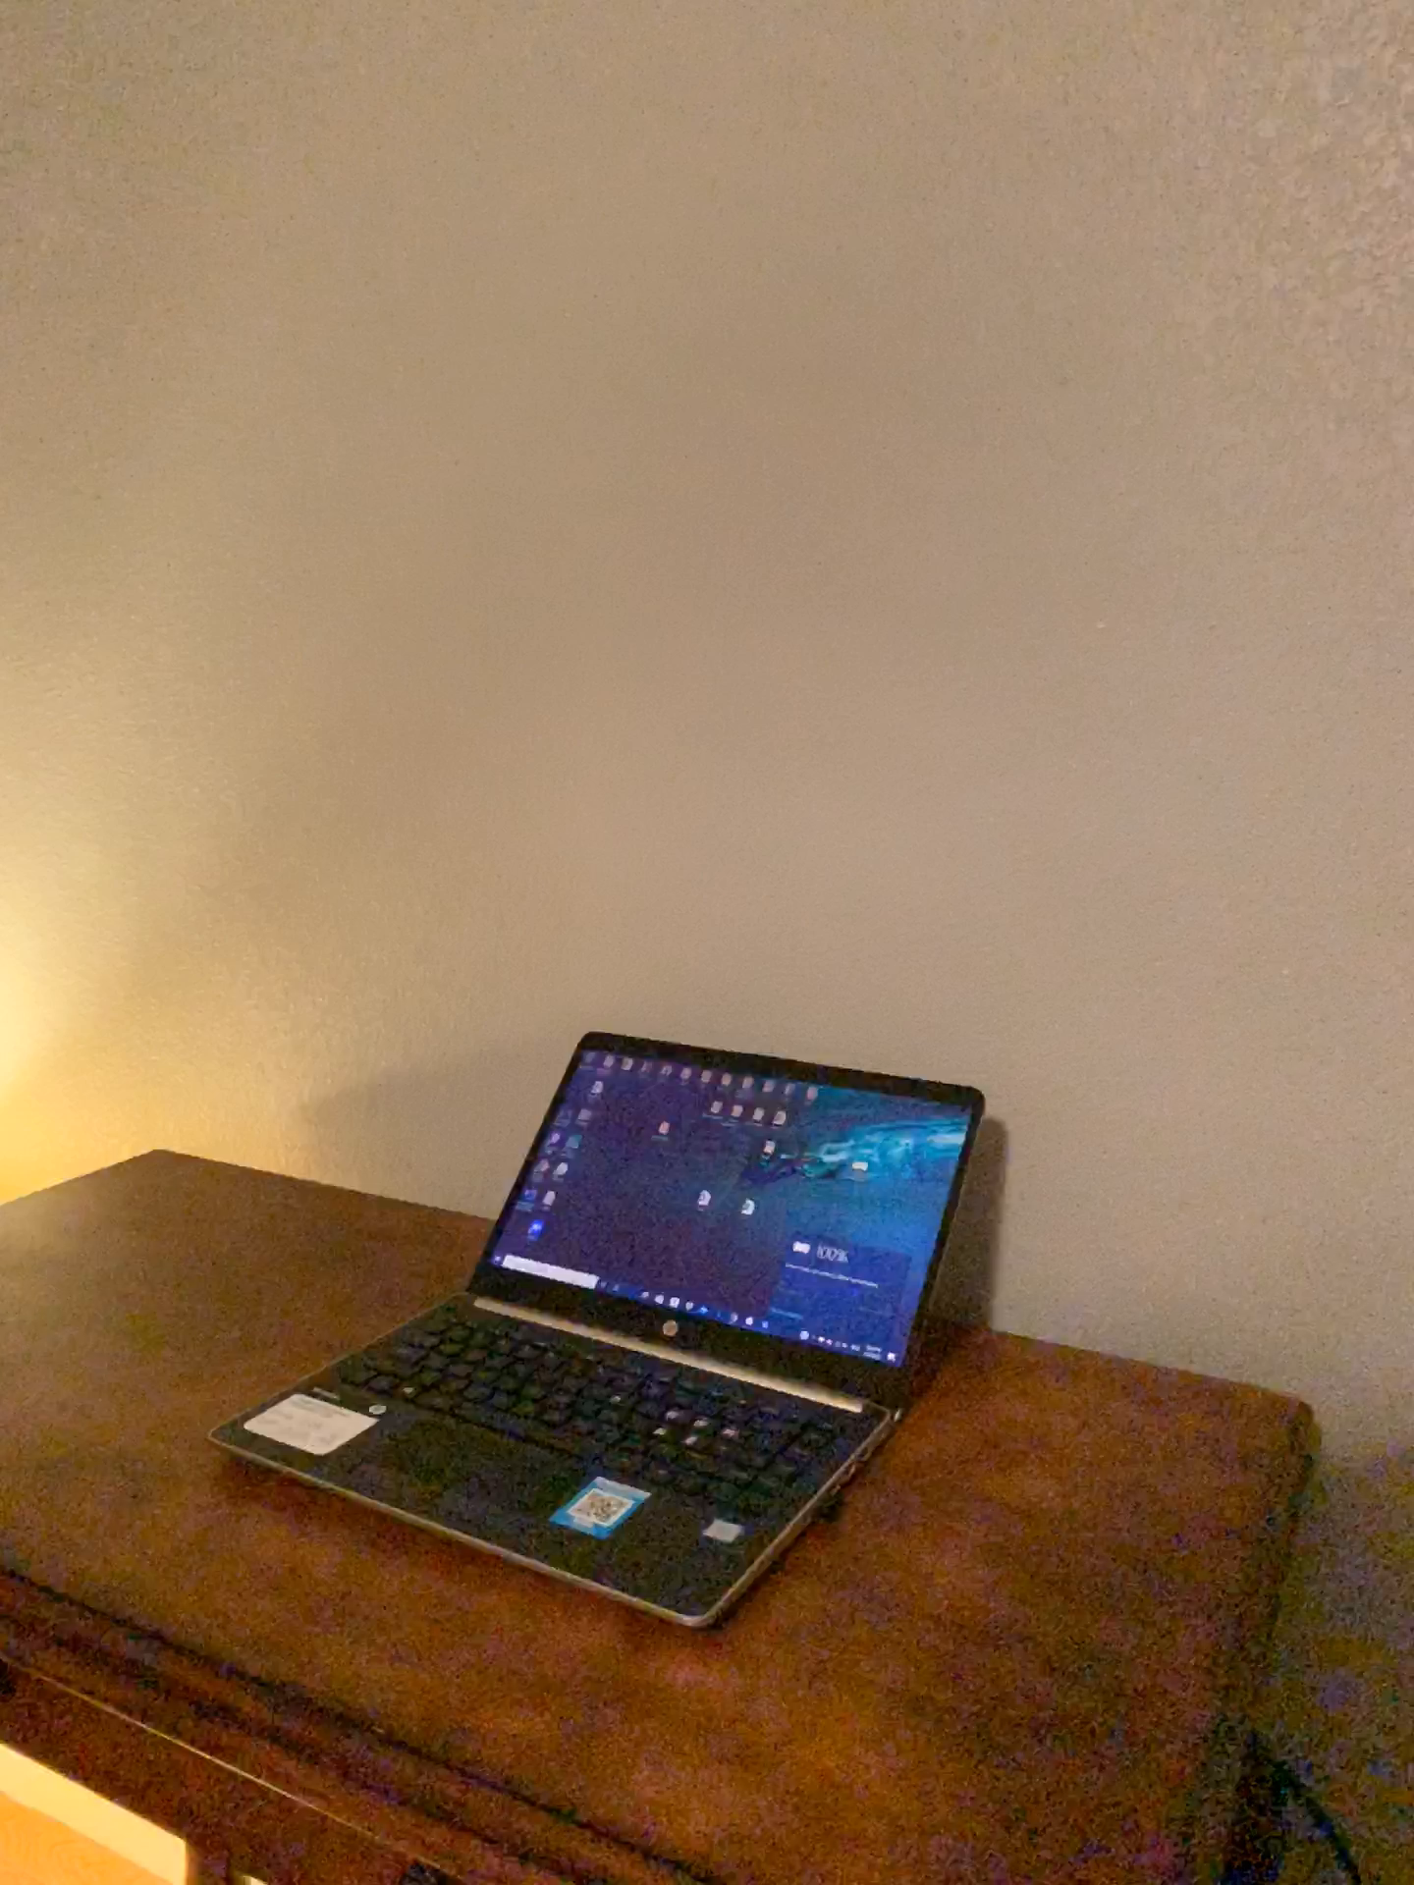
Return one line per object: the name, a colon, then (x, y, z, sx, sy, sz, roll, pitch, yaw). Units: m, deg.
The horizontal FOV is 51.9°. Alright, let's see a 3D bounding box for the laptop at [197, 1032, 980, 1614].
laptop: (-0.051, 0.185, 0.880, 0.317, 0.152, 0.368, 6, 11, 30)
